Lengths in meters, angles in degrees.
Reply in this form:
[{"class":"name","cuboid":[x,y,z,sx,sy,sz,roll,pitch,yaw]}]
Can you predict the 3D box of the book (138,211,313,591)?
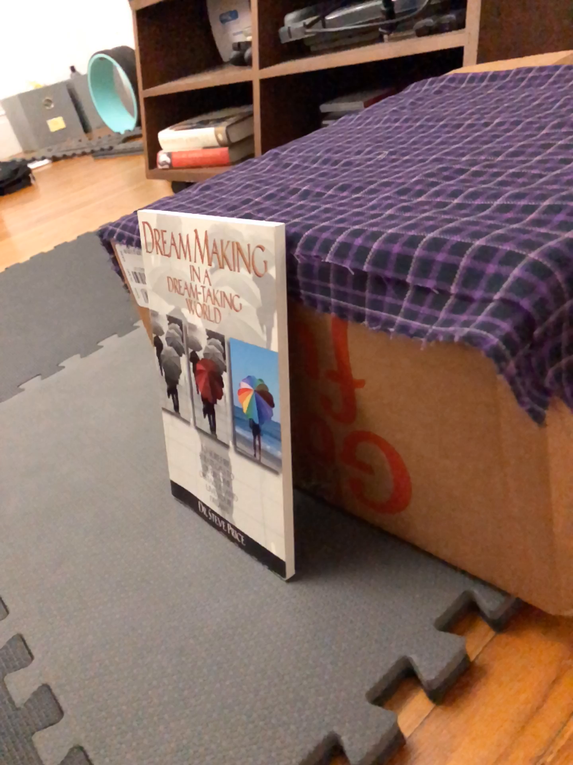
[{"class":"book","cuboid":[-0.042,0.004,0.415,0.020,0.219,0.151,-17,24,-34]}]
